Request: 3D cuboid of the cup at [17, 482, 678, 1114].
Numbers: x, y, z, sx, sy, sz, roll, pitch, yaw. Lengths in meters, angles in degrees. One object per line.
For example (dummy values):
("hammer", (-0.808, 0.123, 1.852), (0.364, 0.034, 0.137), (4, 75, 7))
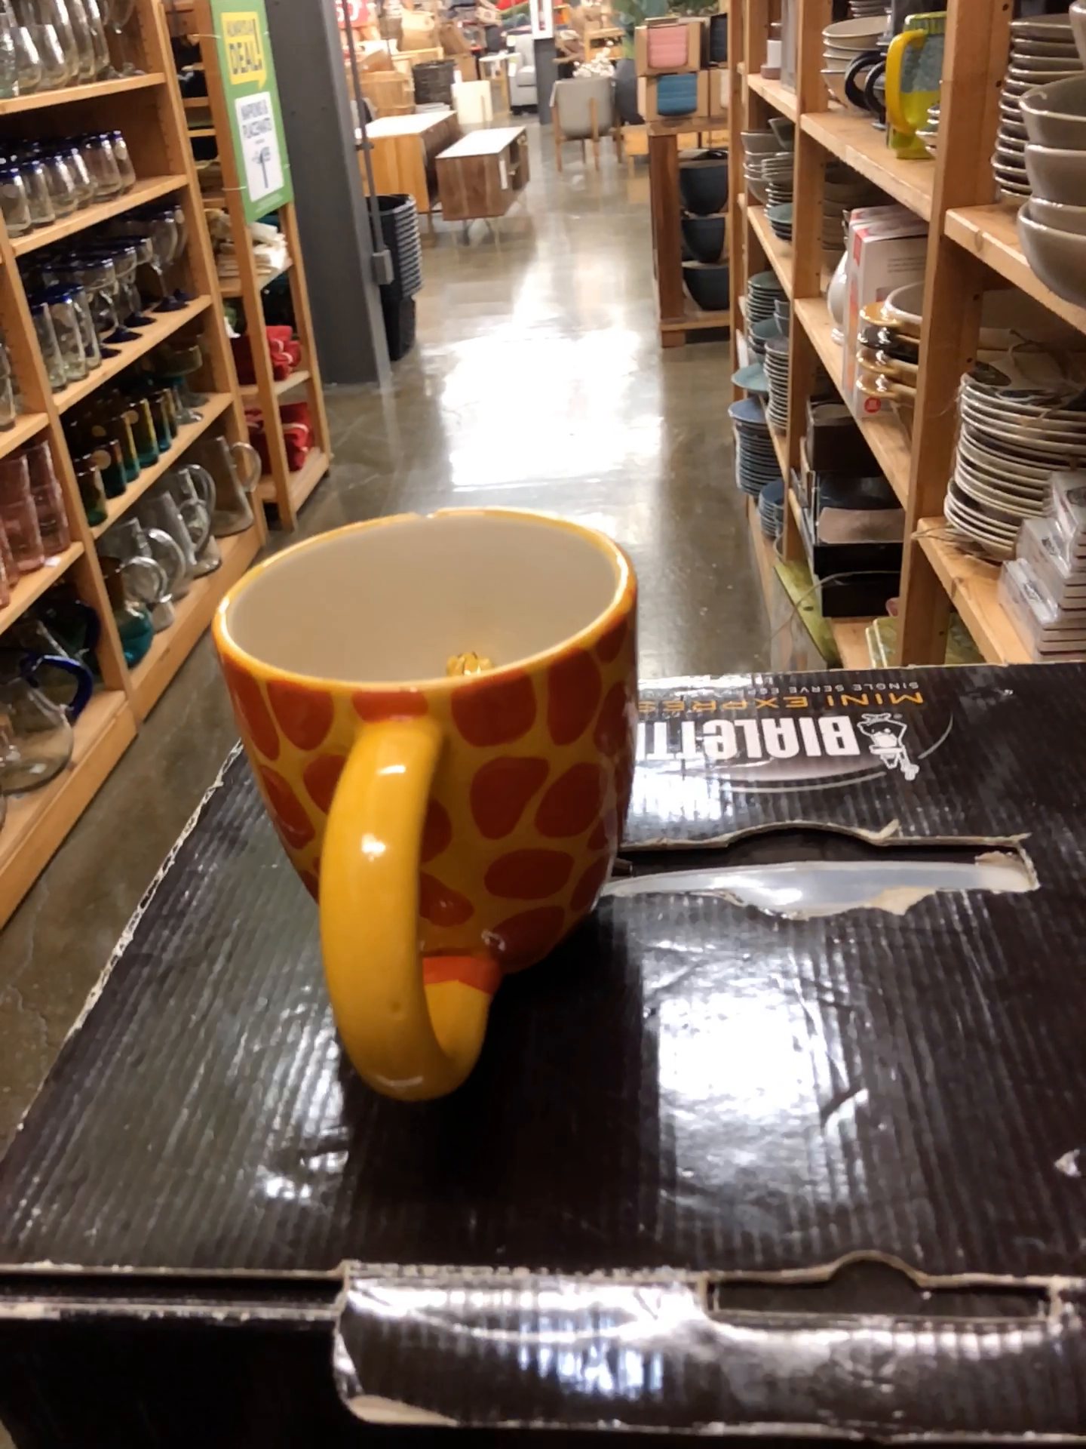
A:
("cup", (-0.024, 0.006, 0.257), (0.102, 0.067, 0.134), (-2, 32, 8))
